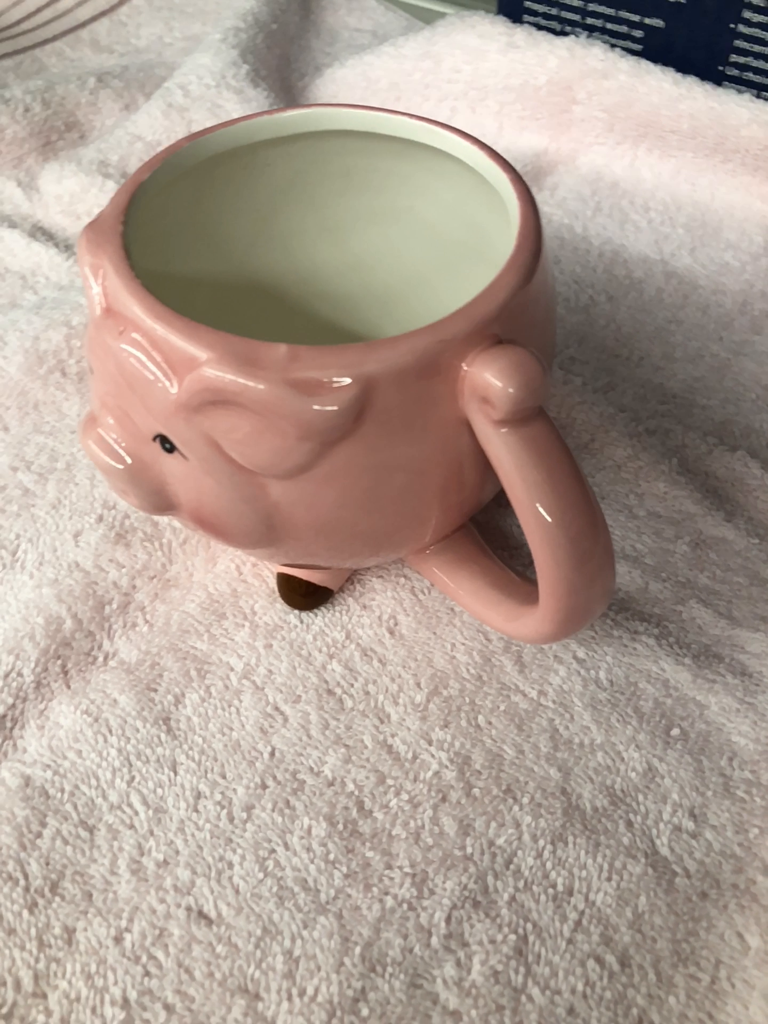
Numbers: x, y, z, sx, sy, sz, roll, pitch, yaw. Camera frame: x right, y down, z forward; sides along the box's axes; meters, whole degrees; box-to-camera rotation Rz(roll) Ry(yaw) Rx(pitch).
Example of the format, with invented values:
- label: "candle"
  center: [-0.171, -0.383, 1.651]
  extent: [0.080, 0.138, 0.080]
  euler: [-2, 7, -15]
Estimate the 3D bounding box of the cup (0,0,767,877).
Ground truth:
- label: "cup"
  center: [-0.009, -0.025, 0.190]
  extent: [0.100, 0.090, 0.151]
  euler: [-33, 60, -19]
